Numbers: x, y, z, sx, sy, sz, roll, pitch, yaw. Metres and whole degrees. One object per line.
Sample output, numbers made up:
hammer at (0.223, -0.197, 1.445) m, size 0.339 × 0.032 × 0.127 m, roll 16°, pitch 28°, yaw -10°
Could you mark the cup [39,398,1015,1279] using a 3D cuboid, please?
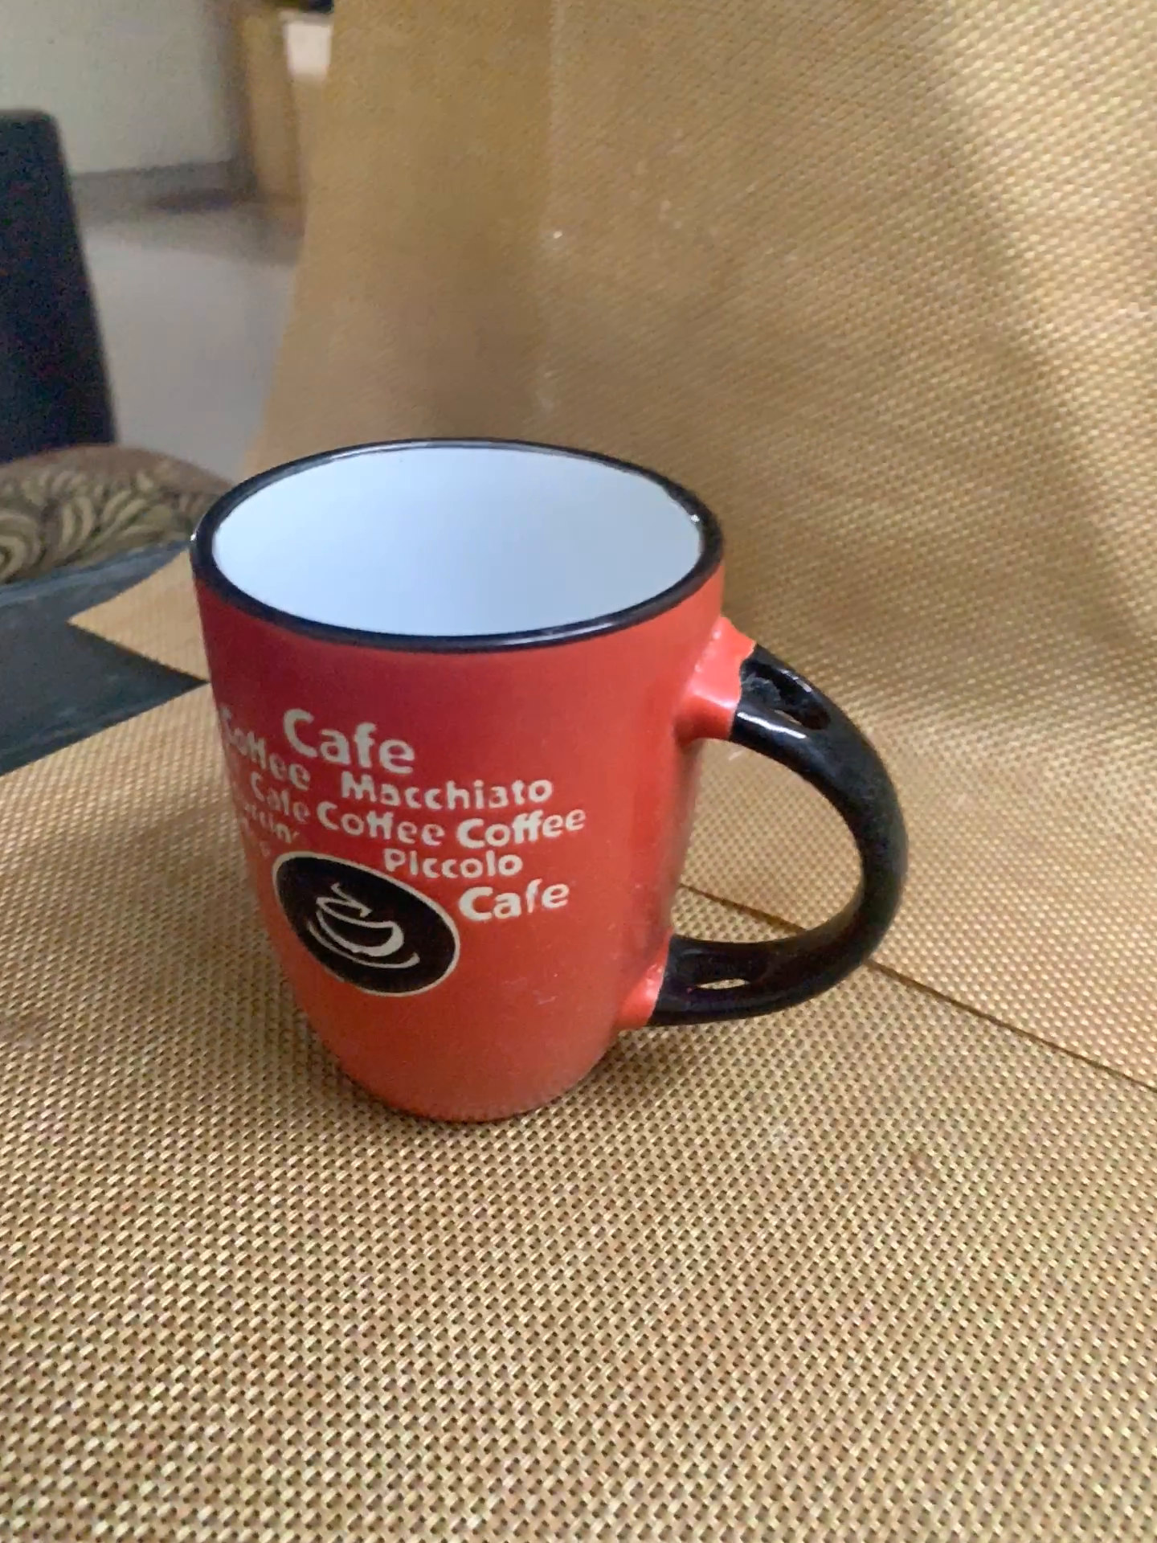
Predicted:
cup at (-0.002, 0.004, 0.208) m, size 0.120 × 0.099 × 0.091 m, roll 9°, pitch 34°, yaw 10°
